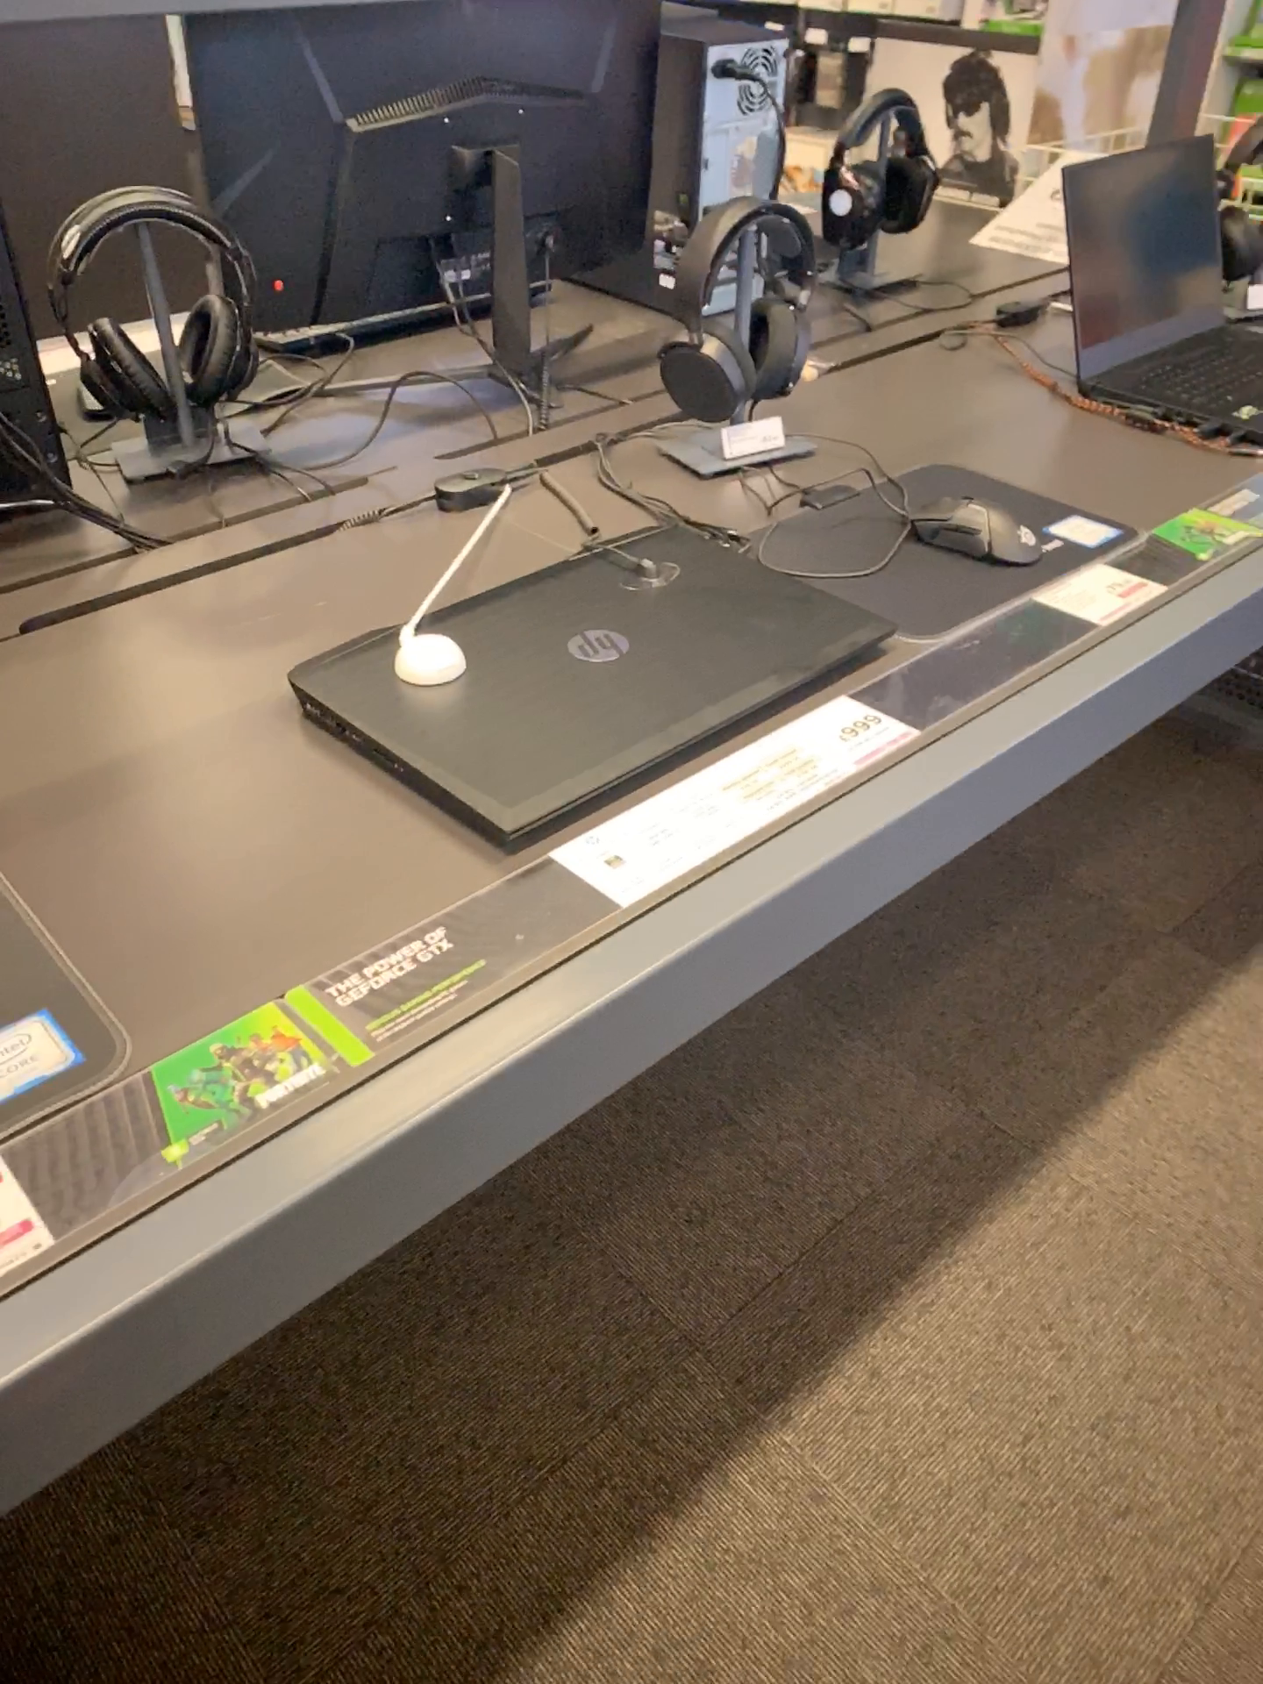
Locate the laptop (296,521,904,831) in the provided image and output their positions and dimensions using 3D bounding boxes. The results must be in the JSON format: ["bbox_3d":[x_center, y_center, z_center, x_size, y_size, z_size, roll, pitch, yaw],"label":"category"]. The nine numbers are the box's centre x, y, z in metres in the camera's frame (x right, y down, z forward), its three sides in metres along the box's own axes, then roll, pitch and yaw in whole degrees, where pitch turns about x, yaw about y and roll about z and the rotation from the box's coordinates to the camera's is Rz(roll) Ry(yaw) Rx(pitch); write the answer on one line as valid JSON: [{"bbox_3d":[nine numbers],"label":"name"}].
[{"bbox_3d":[-0.016,-0.148,0.984,0.396,0.001,0.257,-30,47,-33],"label":"laptop"}]
